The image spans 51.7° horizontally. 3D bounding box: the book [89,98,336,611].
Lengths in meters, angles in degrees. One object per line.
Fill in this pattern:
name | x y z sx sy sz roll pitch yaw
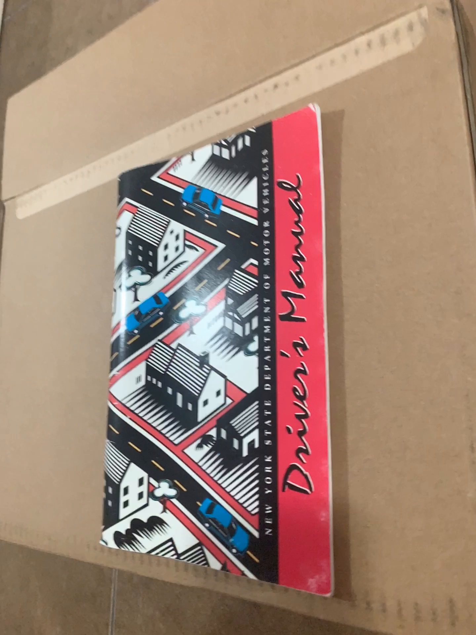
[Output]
book | -0.019 0.013 0.242 0.134 0.013 0.207 -6 78 35
